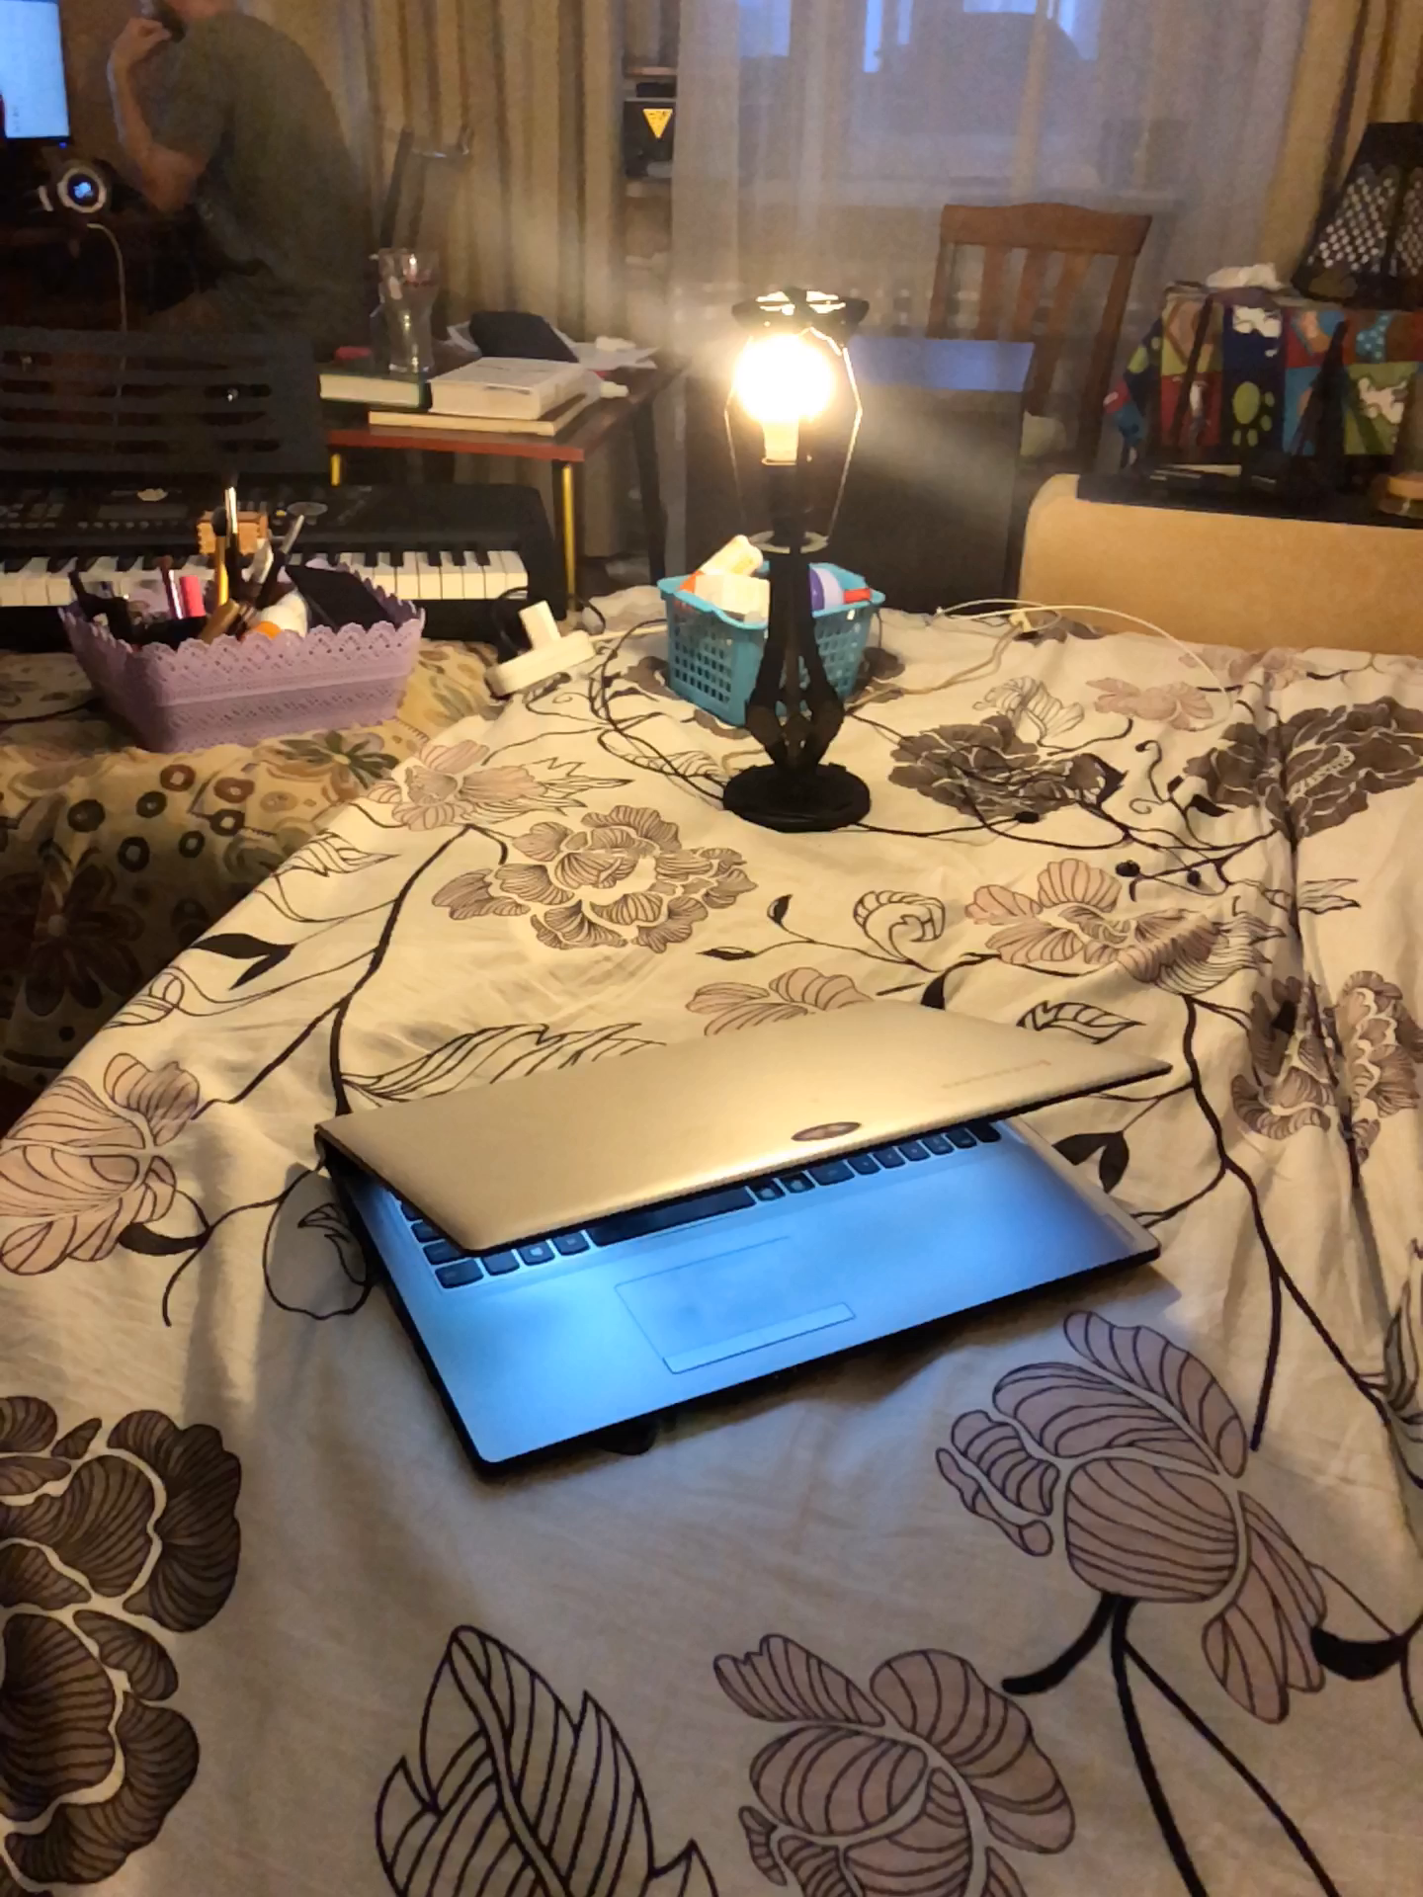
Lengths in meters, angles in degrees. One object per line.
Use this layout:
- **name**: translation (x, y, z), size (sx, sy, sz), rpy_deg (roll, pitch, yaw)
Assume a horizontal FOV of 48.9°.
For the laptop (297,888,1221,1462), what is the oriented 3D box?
- **laptop**: translation (0.016, 0.088, 0.808), size (0.381, 0.082, 0.257), rpy_deg (-12, 31, -24)
